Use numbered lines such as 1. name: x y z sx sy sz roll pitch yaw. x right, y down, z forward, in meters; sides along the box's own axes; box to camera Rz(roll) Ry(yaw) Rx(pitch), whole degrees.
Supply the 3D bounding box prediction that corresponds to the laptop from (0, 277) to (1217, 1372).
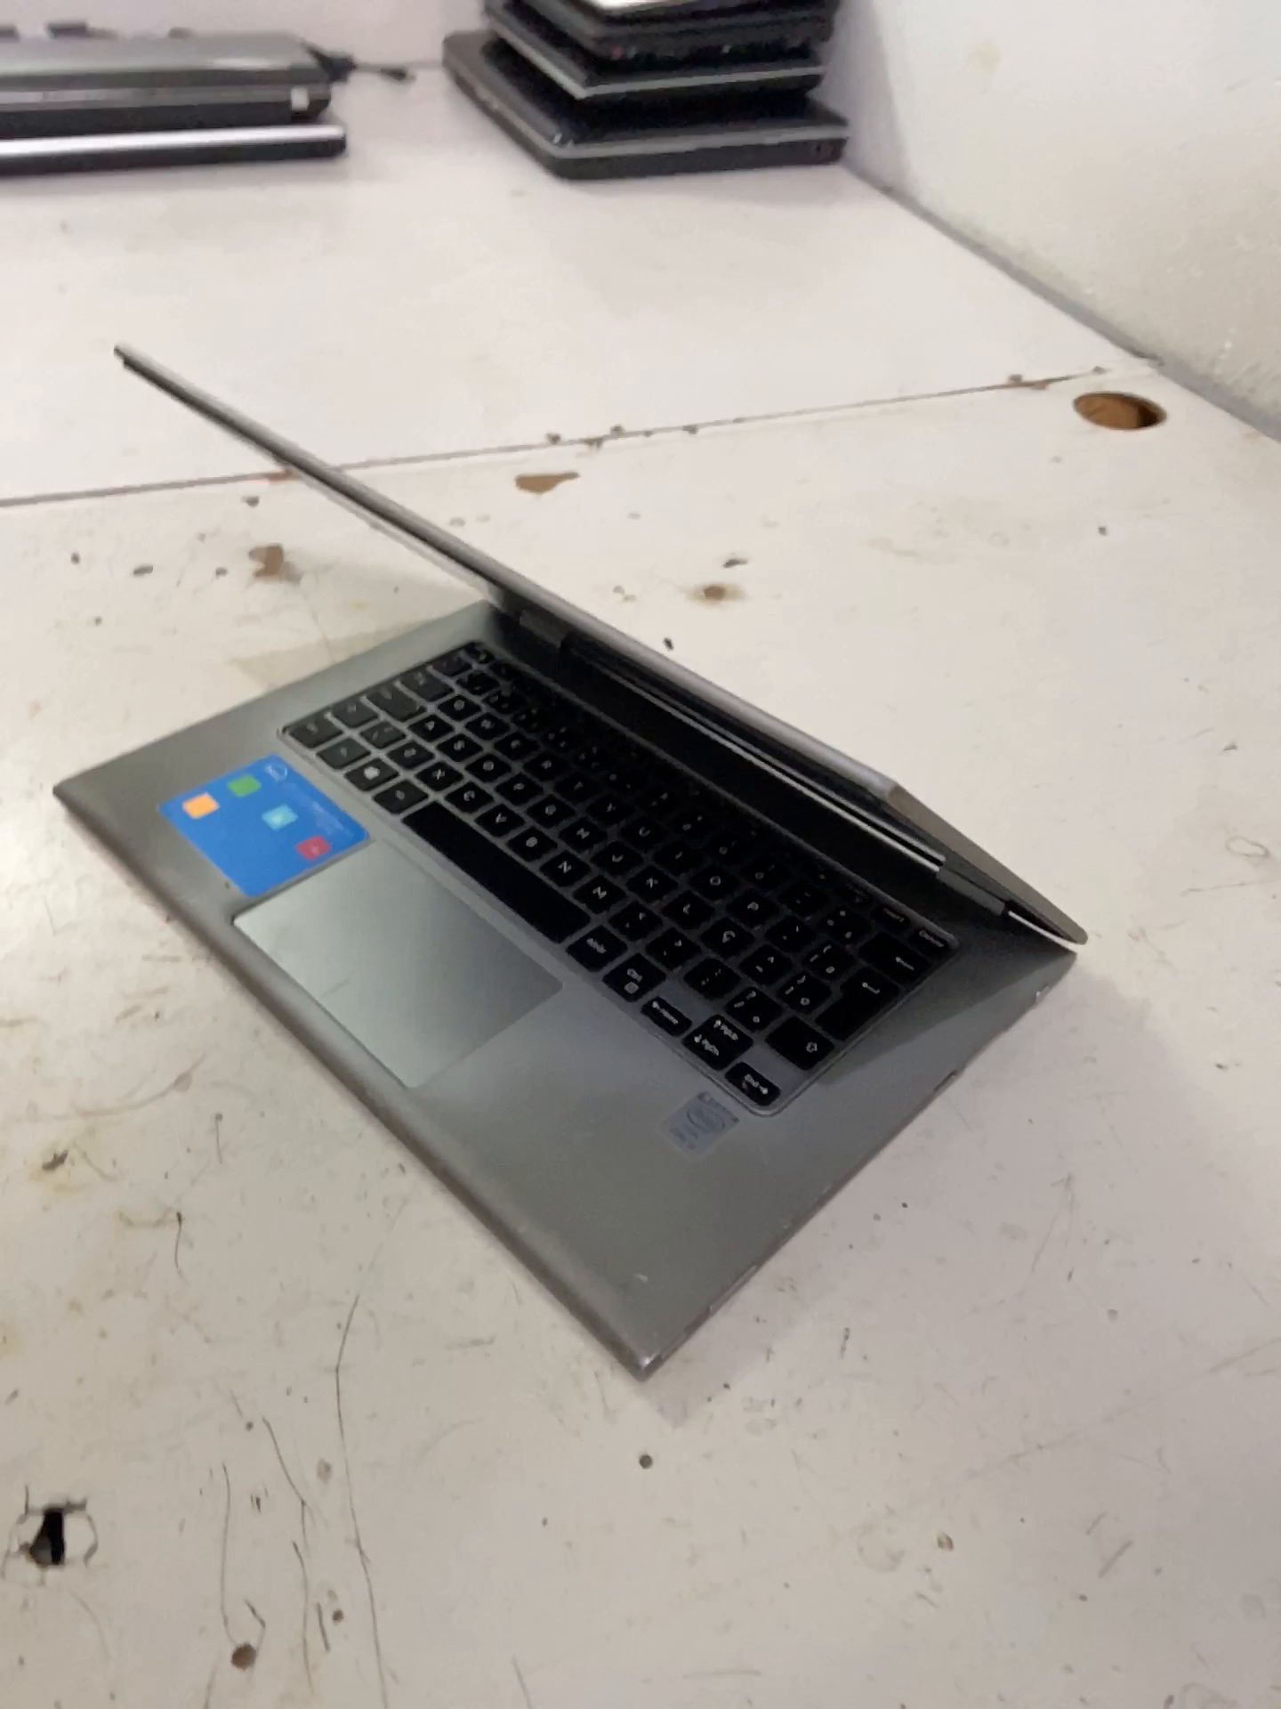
1. laptop: -0.038 -0.049 0.438 0.218 0.154 0.327 -32 51 -33
